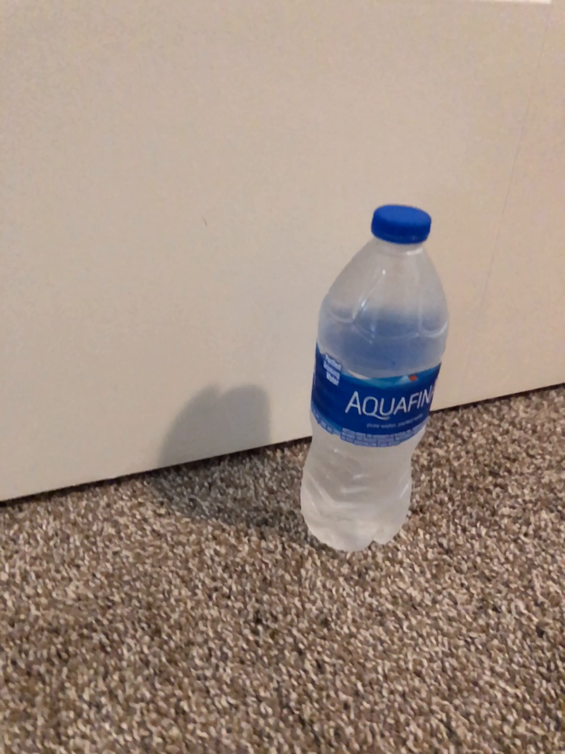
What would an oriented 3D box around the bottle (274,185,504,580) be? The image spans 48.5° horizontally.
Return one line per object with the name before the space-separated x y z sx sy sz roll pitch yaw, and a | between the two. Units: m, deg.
bottle | 0.043 0.007 0.327 0.070 0.189 0.070 2 33 -1
